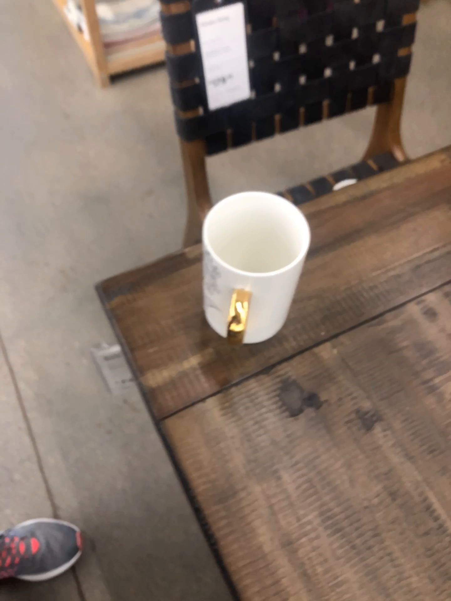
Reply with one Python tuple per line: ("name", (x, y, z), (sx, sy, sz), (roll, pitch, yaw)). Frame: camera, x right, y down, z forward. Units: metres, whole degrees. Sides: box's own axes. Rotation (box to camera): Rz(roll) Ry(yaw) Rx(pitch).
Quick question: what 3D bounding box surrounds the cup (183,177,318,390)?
("cup", (0.020, -0.011, 0.412), (0.082, 0.111, 0.122), (9, 59, 3))
